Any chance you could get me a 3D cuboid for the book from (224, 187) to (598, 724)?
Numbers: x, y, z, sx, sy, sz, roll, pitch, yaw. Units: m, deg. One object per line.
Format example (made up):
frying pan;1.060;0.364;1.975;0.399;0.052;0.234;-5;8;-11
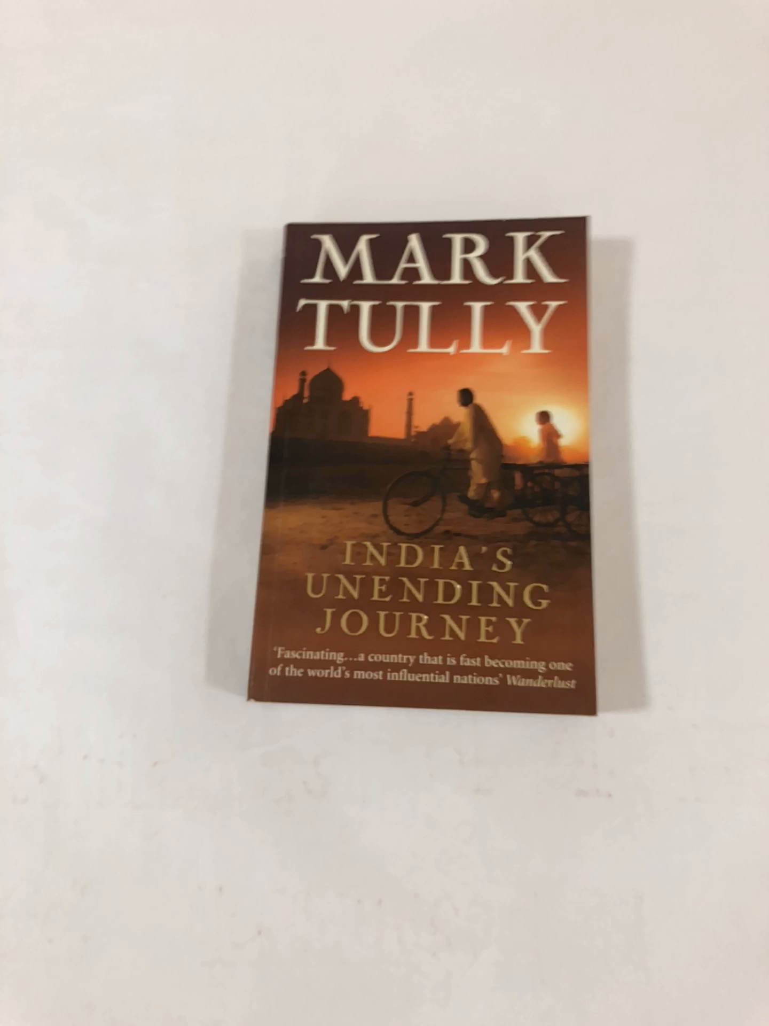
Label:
book;0.013;-0.028;0.341;0.130;0.030;0.210;2;75;3
